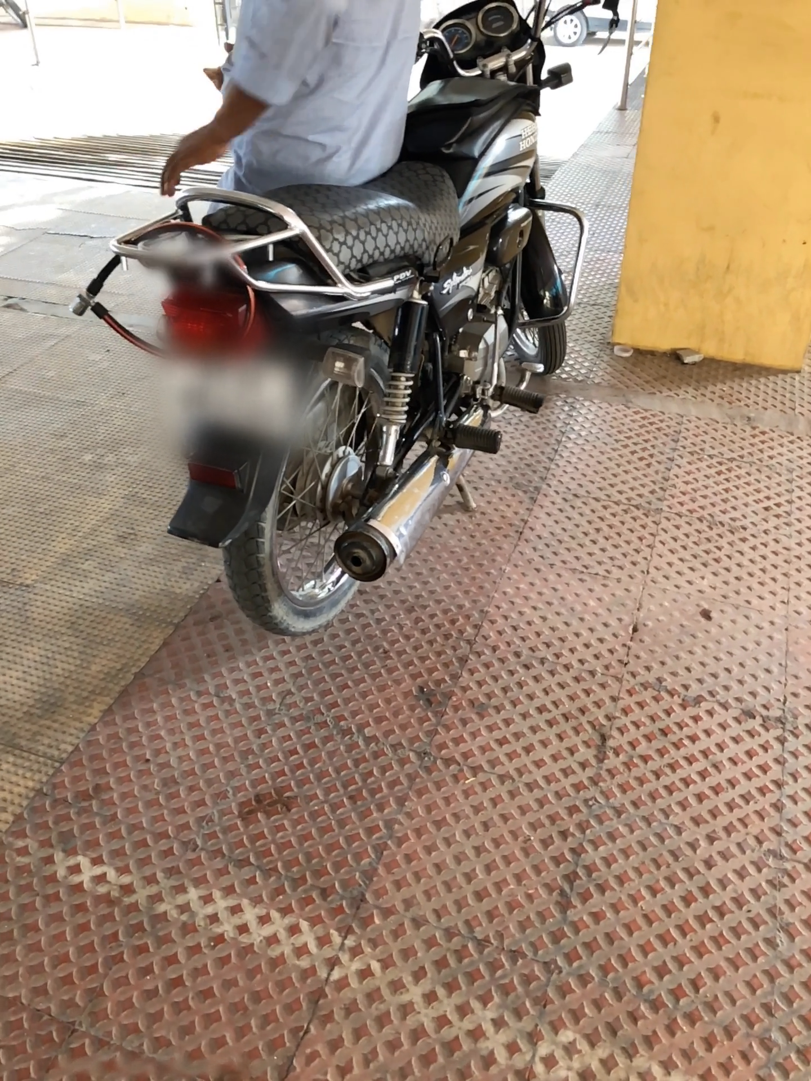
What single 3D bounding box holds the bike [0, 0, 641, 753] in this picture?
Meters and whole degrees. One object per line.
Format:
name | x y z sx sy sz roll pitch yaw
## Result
bike | -0.012 -0.645 1.929 0.677 1.036 1.687 12 40 16
